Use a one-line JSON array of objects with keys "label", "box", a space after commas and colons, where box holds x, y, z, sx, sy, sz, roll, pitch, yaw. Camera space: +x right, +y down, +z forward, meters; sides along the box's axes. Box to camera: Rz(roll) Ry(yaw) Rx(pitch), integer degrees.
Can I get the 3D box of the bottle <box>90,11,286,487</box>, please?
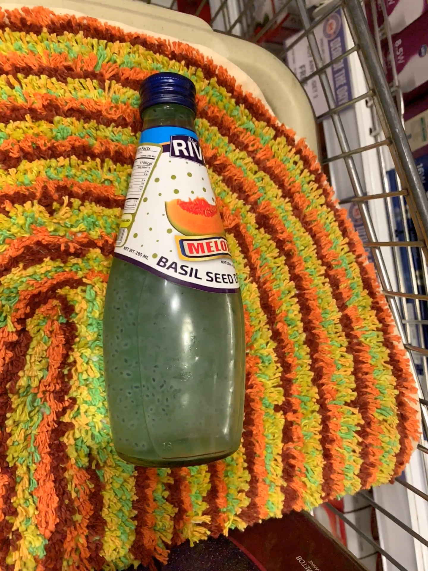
[{"label": "bottle", "box": [-0.015, -0.014, 0.207, 0.060, 0.060, 0.180, 5, 79, -44]}]
